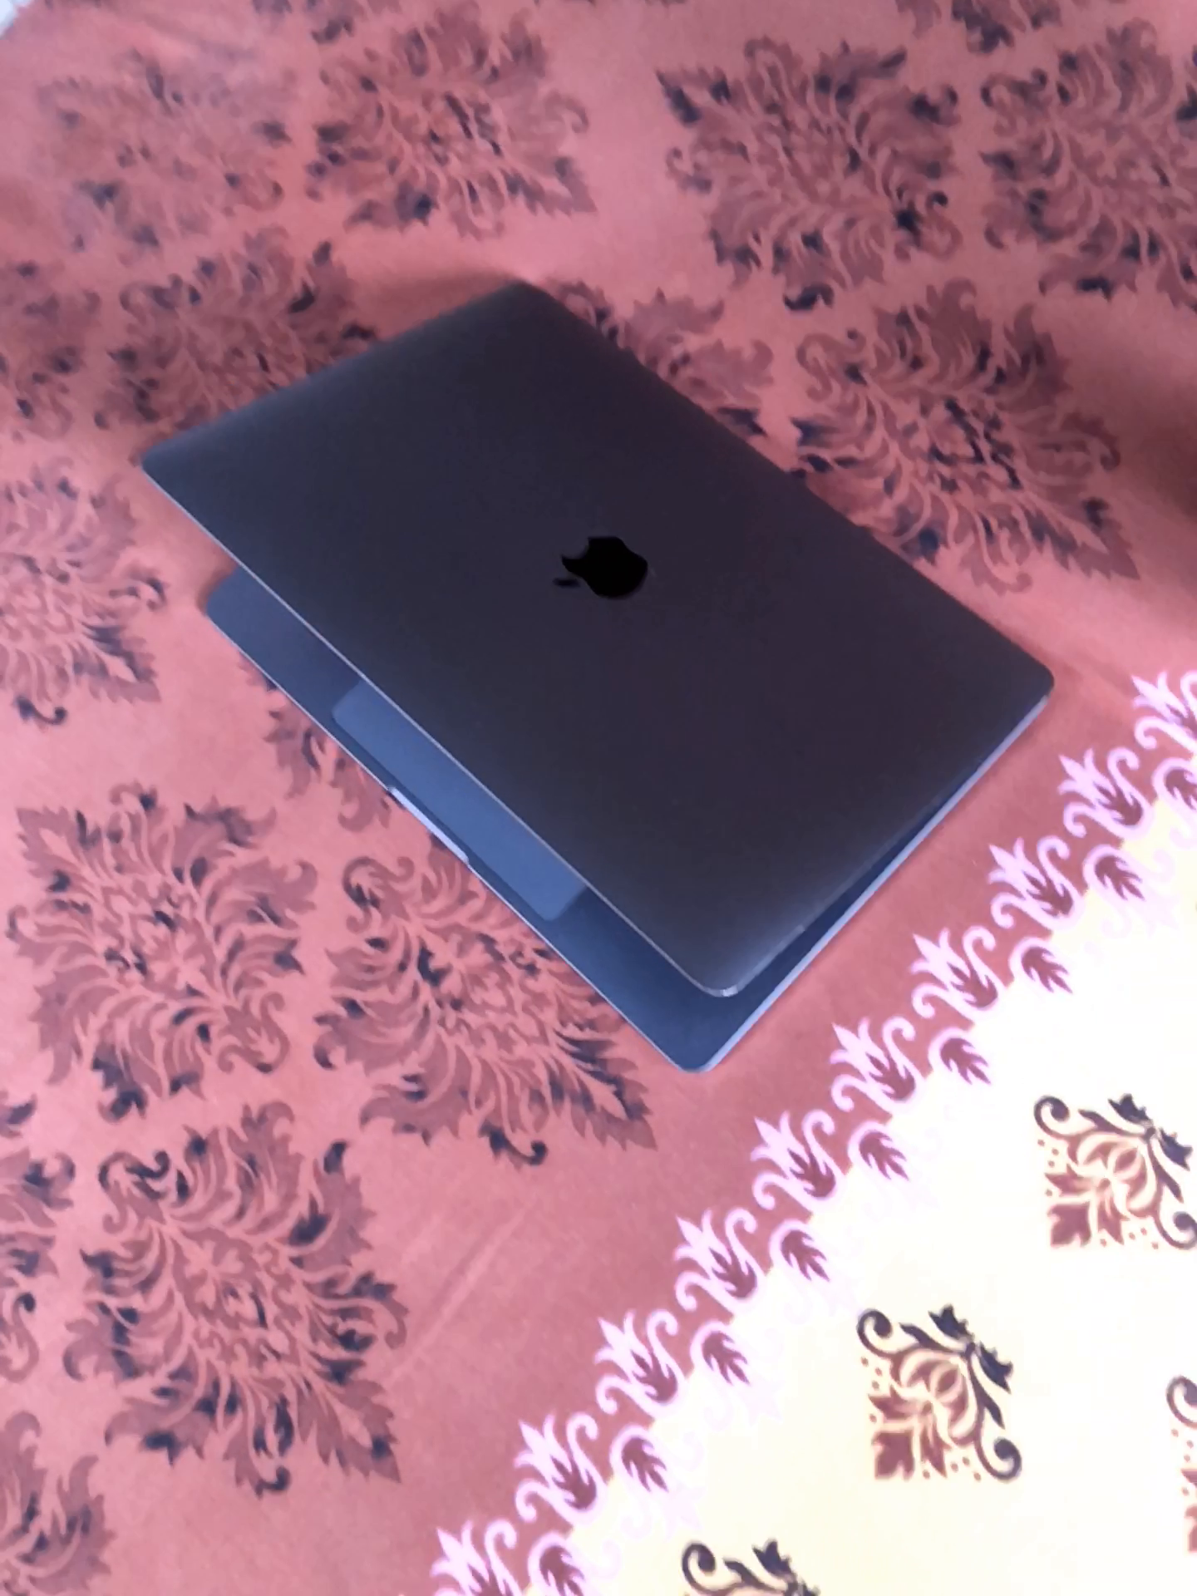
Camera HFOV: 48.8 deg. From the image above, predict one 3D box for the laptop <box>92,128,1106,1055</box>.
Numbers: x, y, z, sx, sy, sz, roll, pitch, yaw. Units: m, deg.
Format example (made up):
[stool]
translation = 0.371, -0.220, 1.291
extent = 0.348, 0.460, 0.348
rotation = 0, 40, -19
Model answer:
[laptop]
translation = -0.005, -0.081, 0.492
extent = 0.204, 0.093, 0.286
rotation = -45, 72, -6
